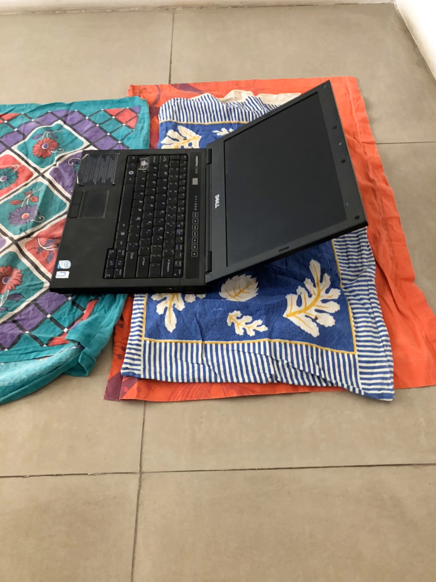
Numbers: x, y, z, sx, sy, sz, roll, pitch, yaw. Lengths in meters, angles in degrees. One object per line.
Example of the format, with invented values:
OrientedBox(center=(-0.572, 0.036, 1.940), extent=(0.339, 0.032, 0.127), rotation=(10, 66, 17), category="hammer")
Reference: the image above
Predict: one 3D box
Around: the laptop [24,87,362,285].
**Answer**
OrientedBox(center=(-0.031, -0.170, 0.736), extent=(0.419, 0.124, 0.307), rotation=(0, 54, -1), category="laptop")
